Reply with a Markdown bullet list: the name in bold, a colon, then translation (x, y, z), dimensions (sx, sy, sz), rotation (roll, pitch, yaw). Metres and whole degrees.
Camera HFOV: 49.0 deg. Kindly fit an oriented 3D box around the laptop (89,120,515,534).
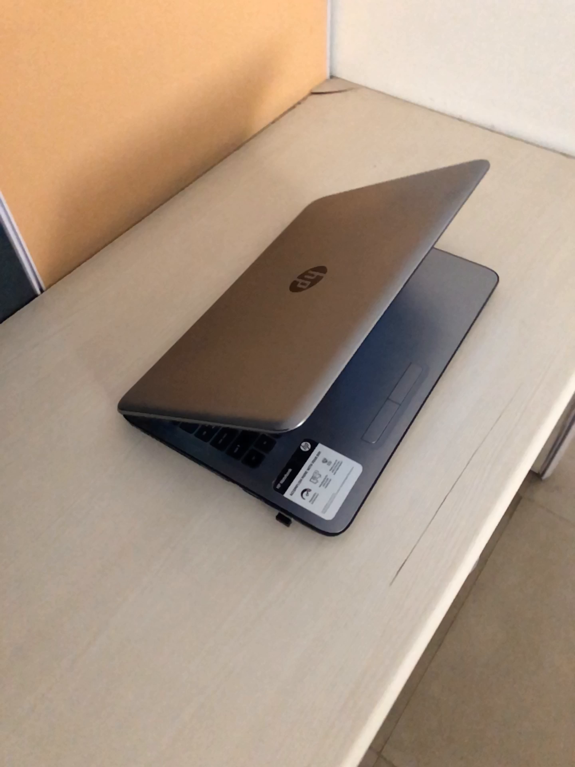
- **laptop**: translation (0.033, -0.086, 0.621), dimensions (0.238, 0.133, 0.365), rotation (24, 55, 21)
